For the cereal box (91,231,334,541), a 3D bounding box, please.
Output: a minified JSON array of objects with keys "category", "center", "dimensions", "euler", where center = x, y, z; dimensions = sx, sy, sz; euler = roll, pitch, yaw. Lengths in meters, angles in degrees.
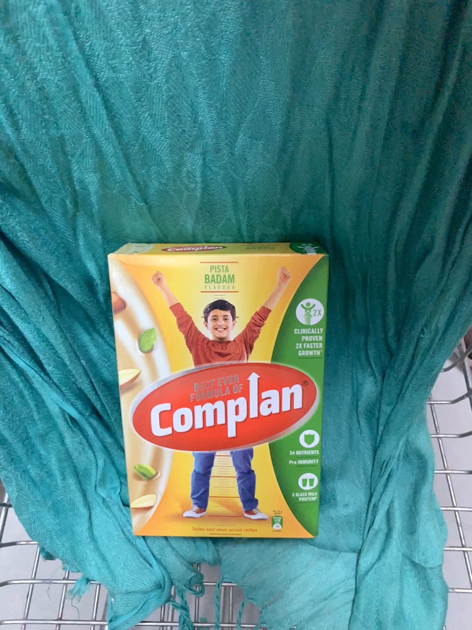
[{"category":"cereal box","center":[-0.010,0.048,0.333],"dimensions":[0.140,0.060,0.200],"euler":[-1,105,3]}]
